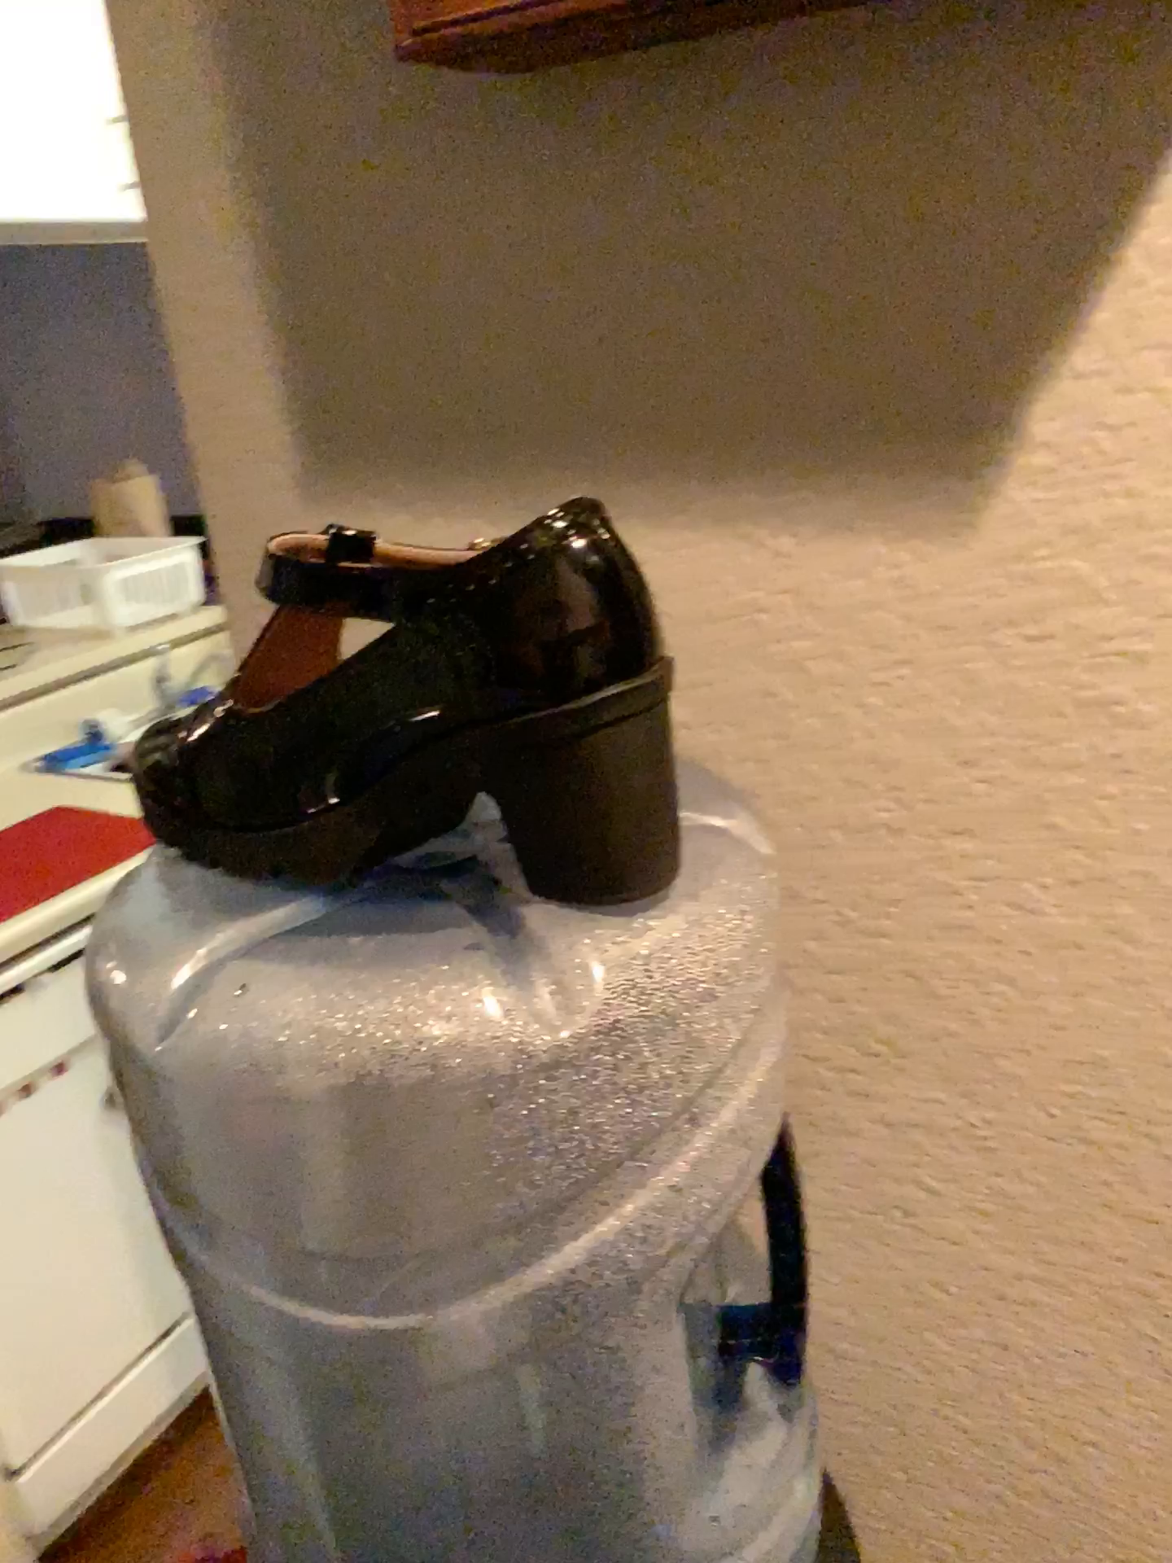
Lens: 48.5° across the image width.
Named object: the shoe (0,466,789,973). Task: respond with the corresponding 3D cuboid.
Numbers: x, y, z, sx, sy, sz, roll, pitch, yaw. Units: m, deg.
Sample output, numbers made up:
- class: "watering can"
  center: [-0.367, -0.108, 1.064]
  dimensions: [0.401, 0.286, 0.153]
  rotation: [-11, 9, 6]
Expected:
- class: "shoe"
  center: [-0.073, -0.039, 0.463]
  dimensions: [0.250, 0.120, 0.130]
  rotation: [8, 24, 34]
